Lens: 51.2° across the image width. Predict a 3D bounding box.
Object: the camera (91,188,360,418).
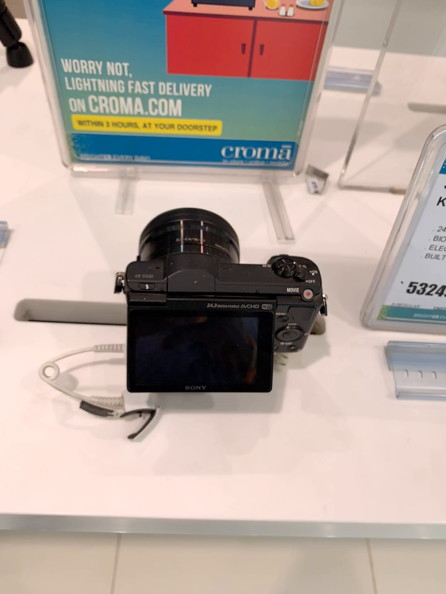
[{"bbox_3d":[-0.002,0.006,0.249,0.110,0.082,0.088,2,52,-4],"label":"camera"}]
